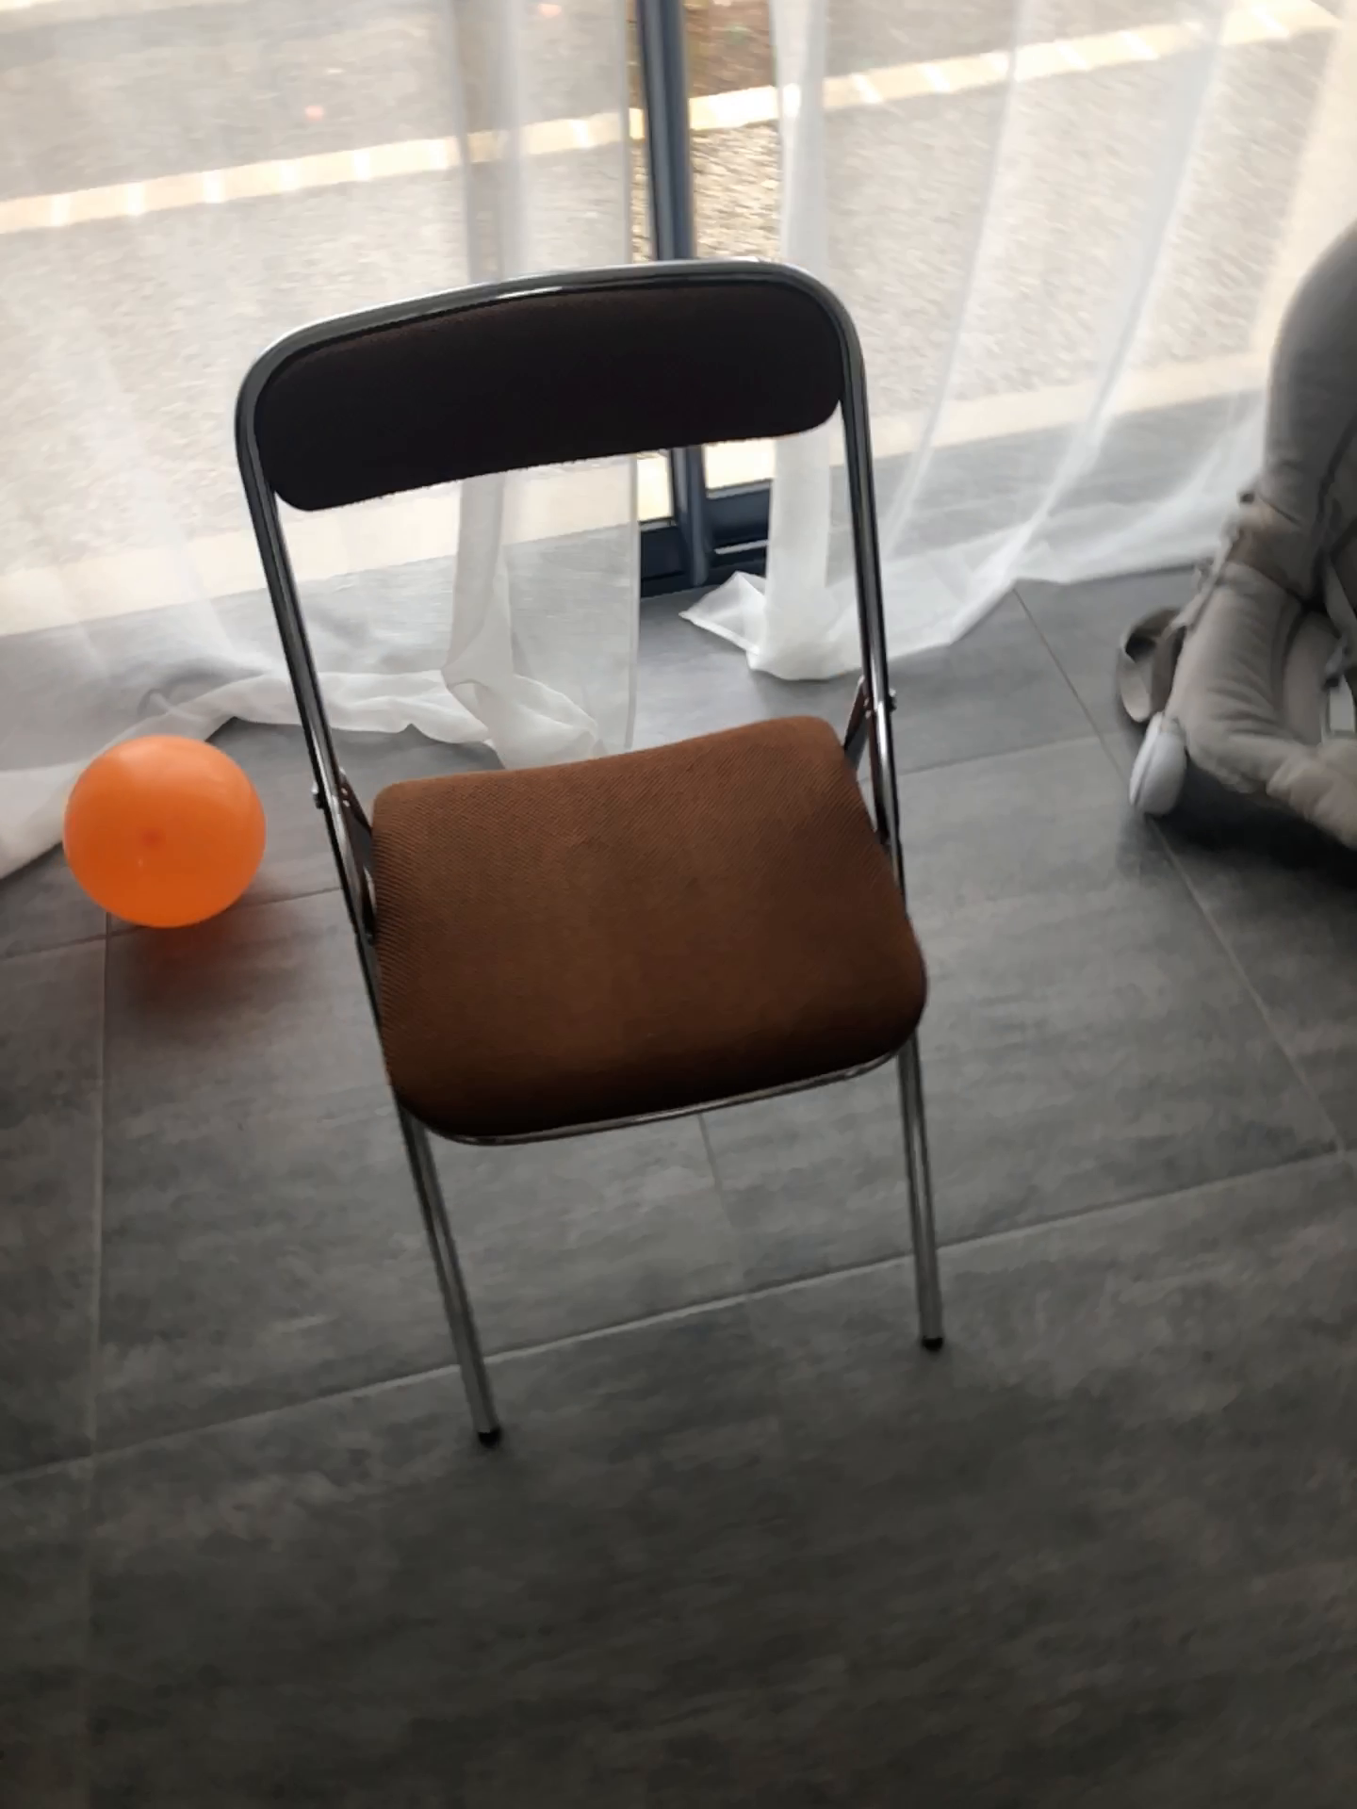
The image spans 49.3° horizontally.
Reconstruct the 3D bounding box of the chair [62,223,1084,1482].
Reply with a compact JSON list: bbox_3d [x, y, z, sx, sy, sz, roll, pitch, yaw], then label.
[{"bbox_3d":[-0.076,-0.004,1.143,0.480,0.736,0.552,-10,50,-5],"label":"chair"}]
